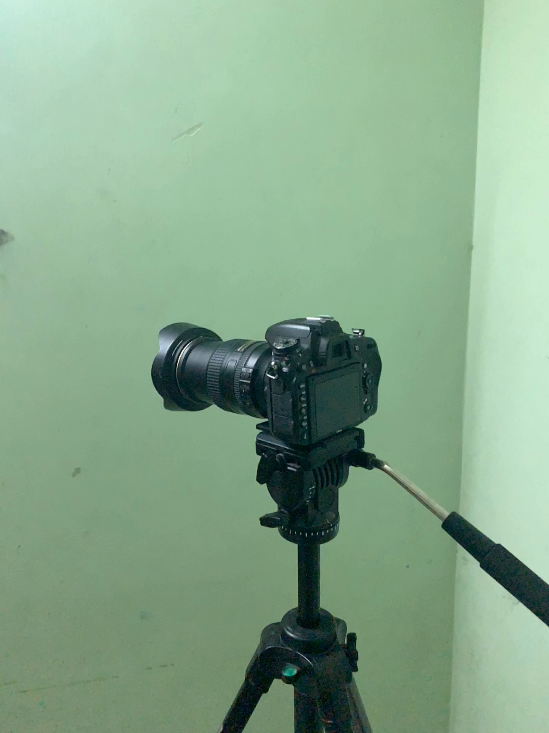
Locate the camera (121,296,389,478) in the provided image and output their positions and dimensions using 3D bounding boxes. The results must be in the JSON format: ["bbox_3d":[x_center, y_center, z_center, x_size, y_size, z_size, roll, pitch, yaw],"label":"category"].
[{"bbox_3d":[-0.027,0.002,0.622,0.251,0.132,0.163,11,18,43],"label":"camera"}]
